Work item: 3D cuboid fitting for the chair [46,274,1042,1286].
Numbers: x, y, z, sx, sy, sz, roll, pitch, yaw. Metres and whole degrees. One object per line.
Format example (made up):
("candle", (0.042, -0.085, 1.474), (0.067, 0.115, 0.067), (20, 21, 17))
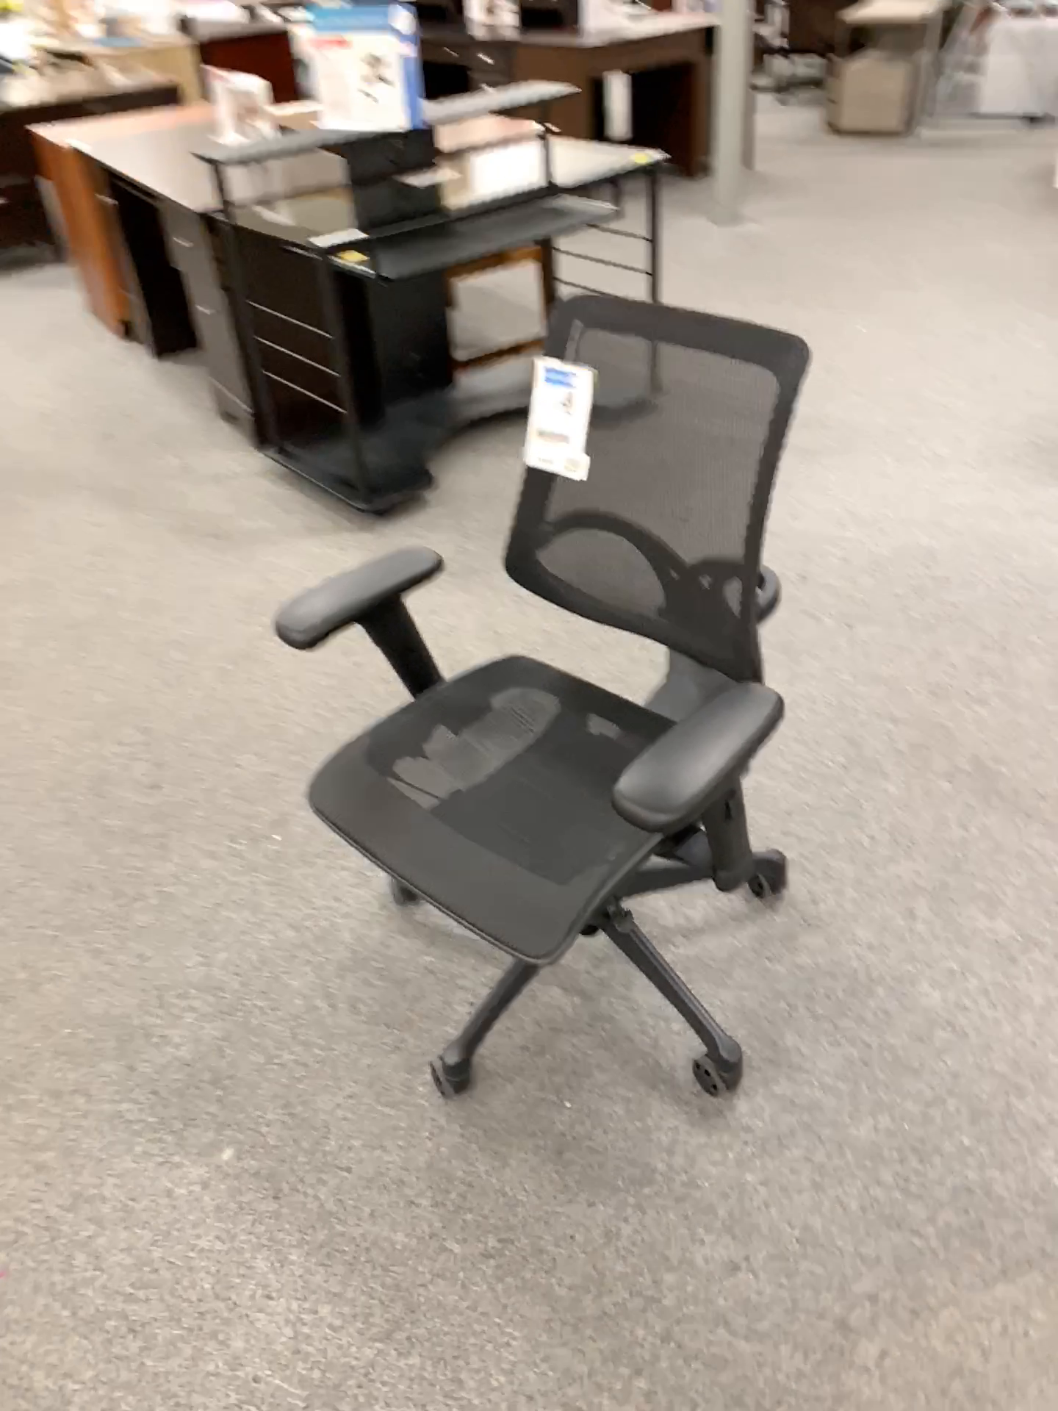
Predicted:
("chair", (0.061, 0.007, 1.388), (0.762, 0.805, 0.763), (22, 45, 31))
